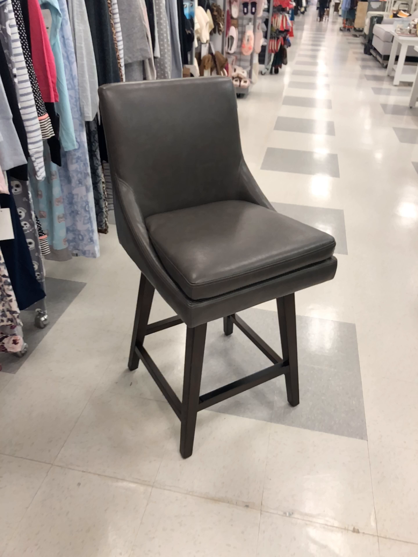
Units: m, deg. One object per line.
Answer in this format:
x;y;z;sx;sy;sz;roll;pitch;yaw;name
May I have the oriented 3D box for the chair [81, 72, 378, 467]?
0.004;-0.061;1.361;0.493;0.917;0.581;-16;37;-27;chair
